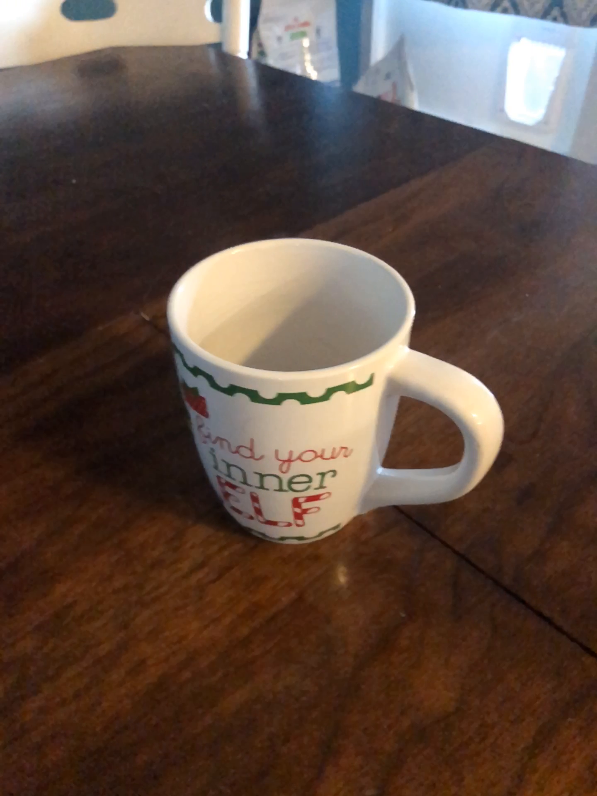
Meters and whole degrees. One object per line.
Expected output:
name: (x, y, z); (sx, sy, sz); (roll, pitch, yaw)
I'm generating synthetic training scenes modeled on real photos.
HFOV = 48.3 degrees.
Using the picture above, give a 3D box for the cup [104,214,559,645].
cup: (0.016, 0.006, 0.323); (0.160, 0.120, 0.110); (21, 46, 23)
